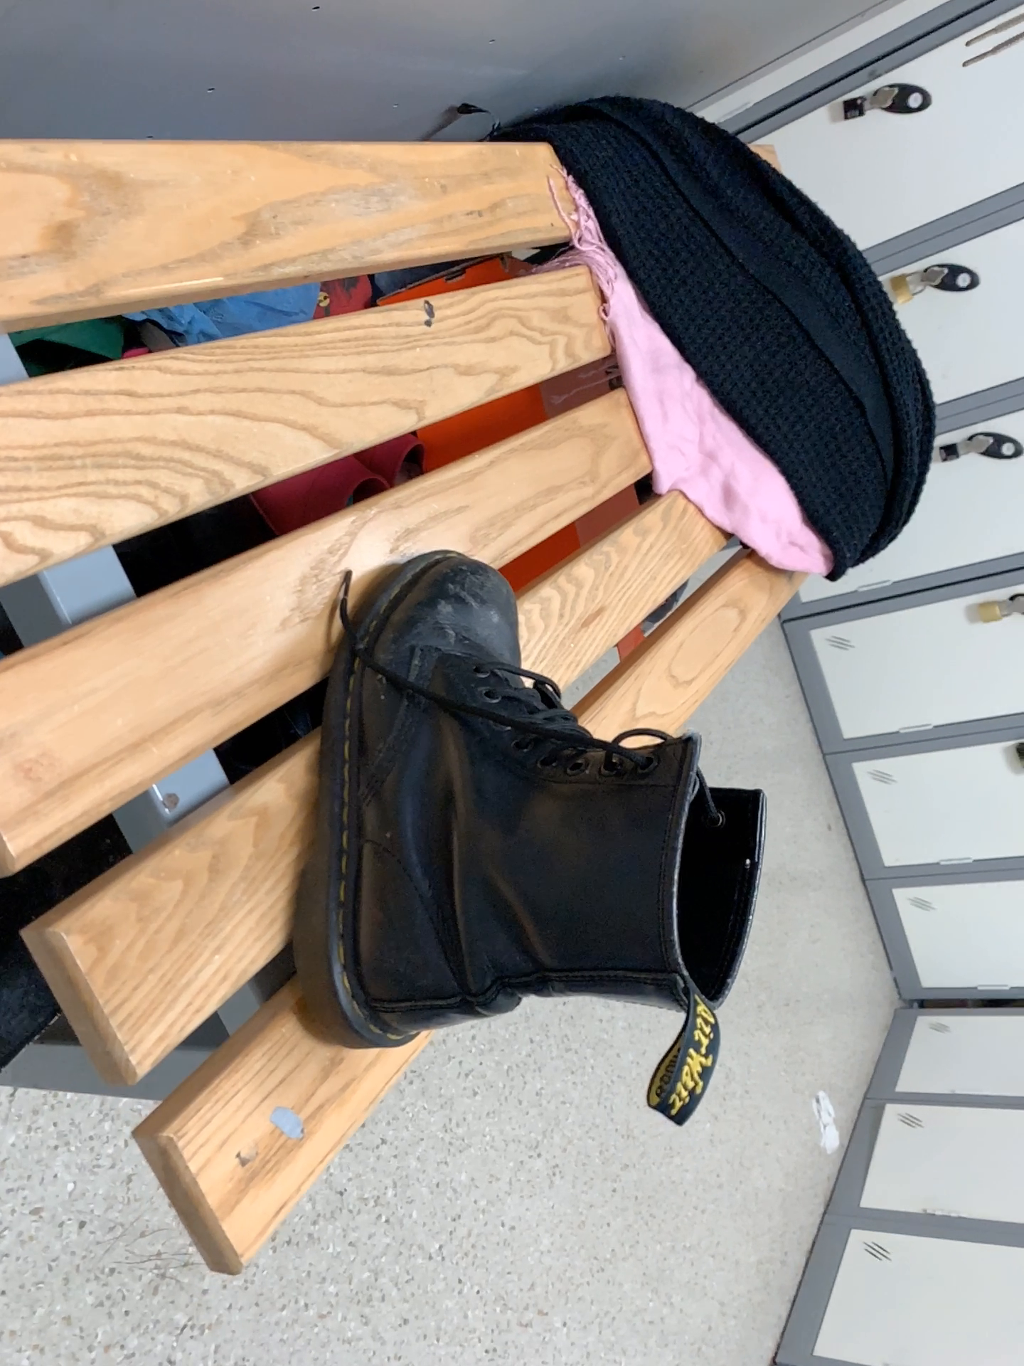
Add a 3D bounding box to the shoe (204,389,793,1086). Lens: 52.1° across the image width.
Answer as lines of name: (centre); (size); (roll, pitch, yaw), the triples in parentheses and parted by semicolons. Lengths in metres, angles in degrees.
shoe: (0.006, 0.029, 0.474); (0.107, 0.199, 0.262); (41, 49, -40)
